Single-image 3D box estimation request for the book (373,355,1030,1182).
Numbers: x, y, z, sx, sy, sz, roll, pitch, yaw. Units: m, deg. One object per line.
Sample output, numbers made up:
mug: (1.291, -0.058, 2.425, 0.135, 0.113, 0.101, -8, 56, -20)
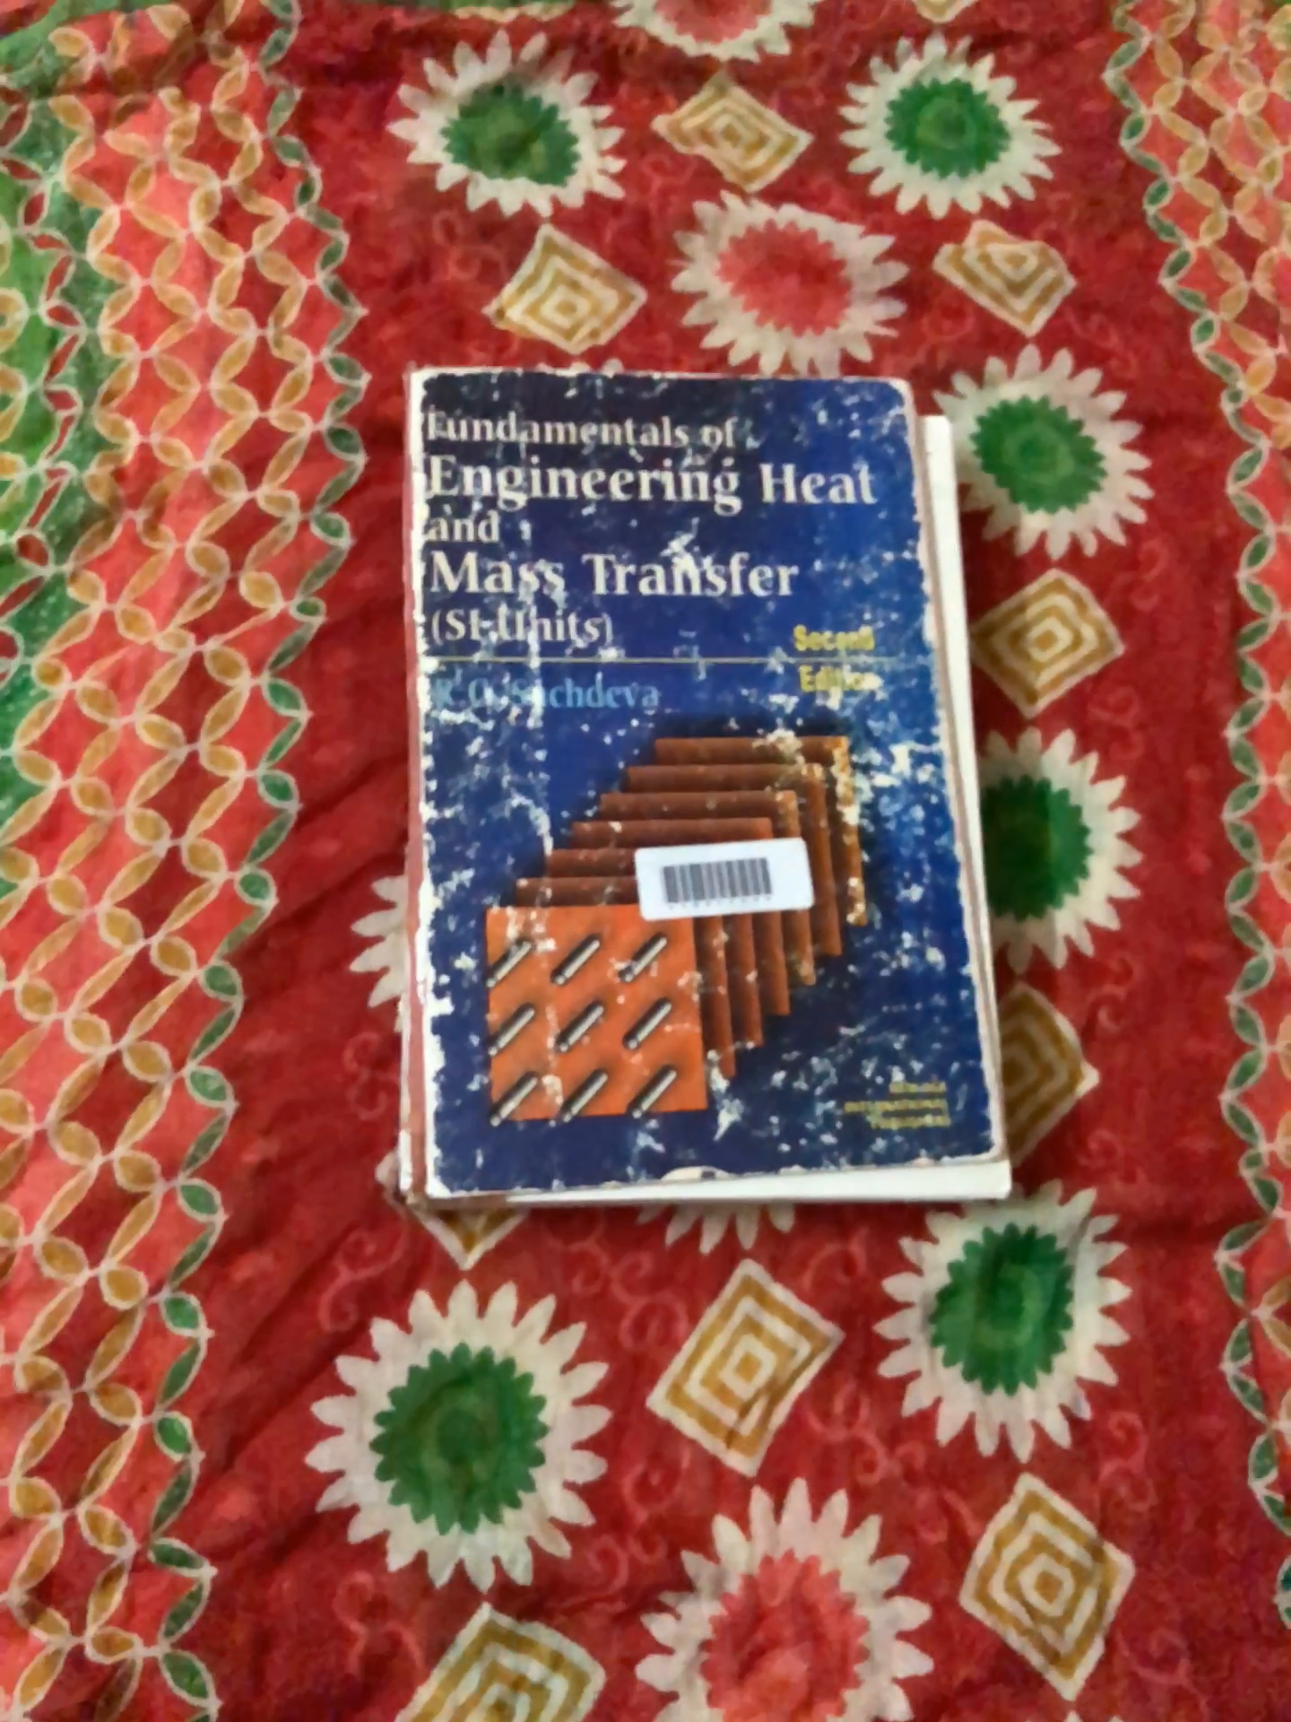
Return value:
book: (0.008, -0.027, 0.379, 0.150, 0.043, 0.209, -2, 77, -7)
